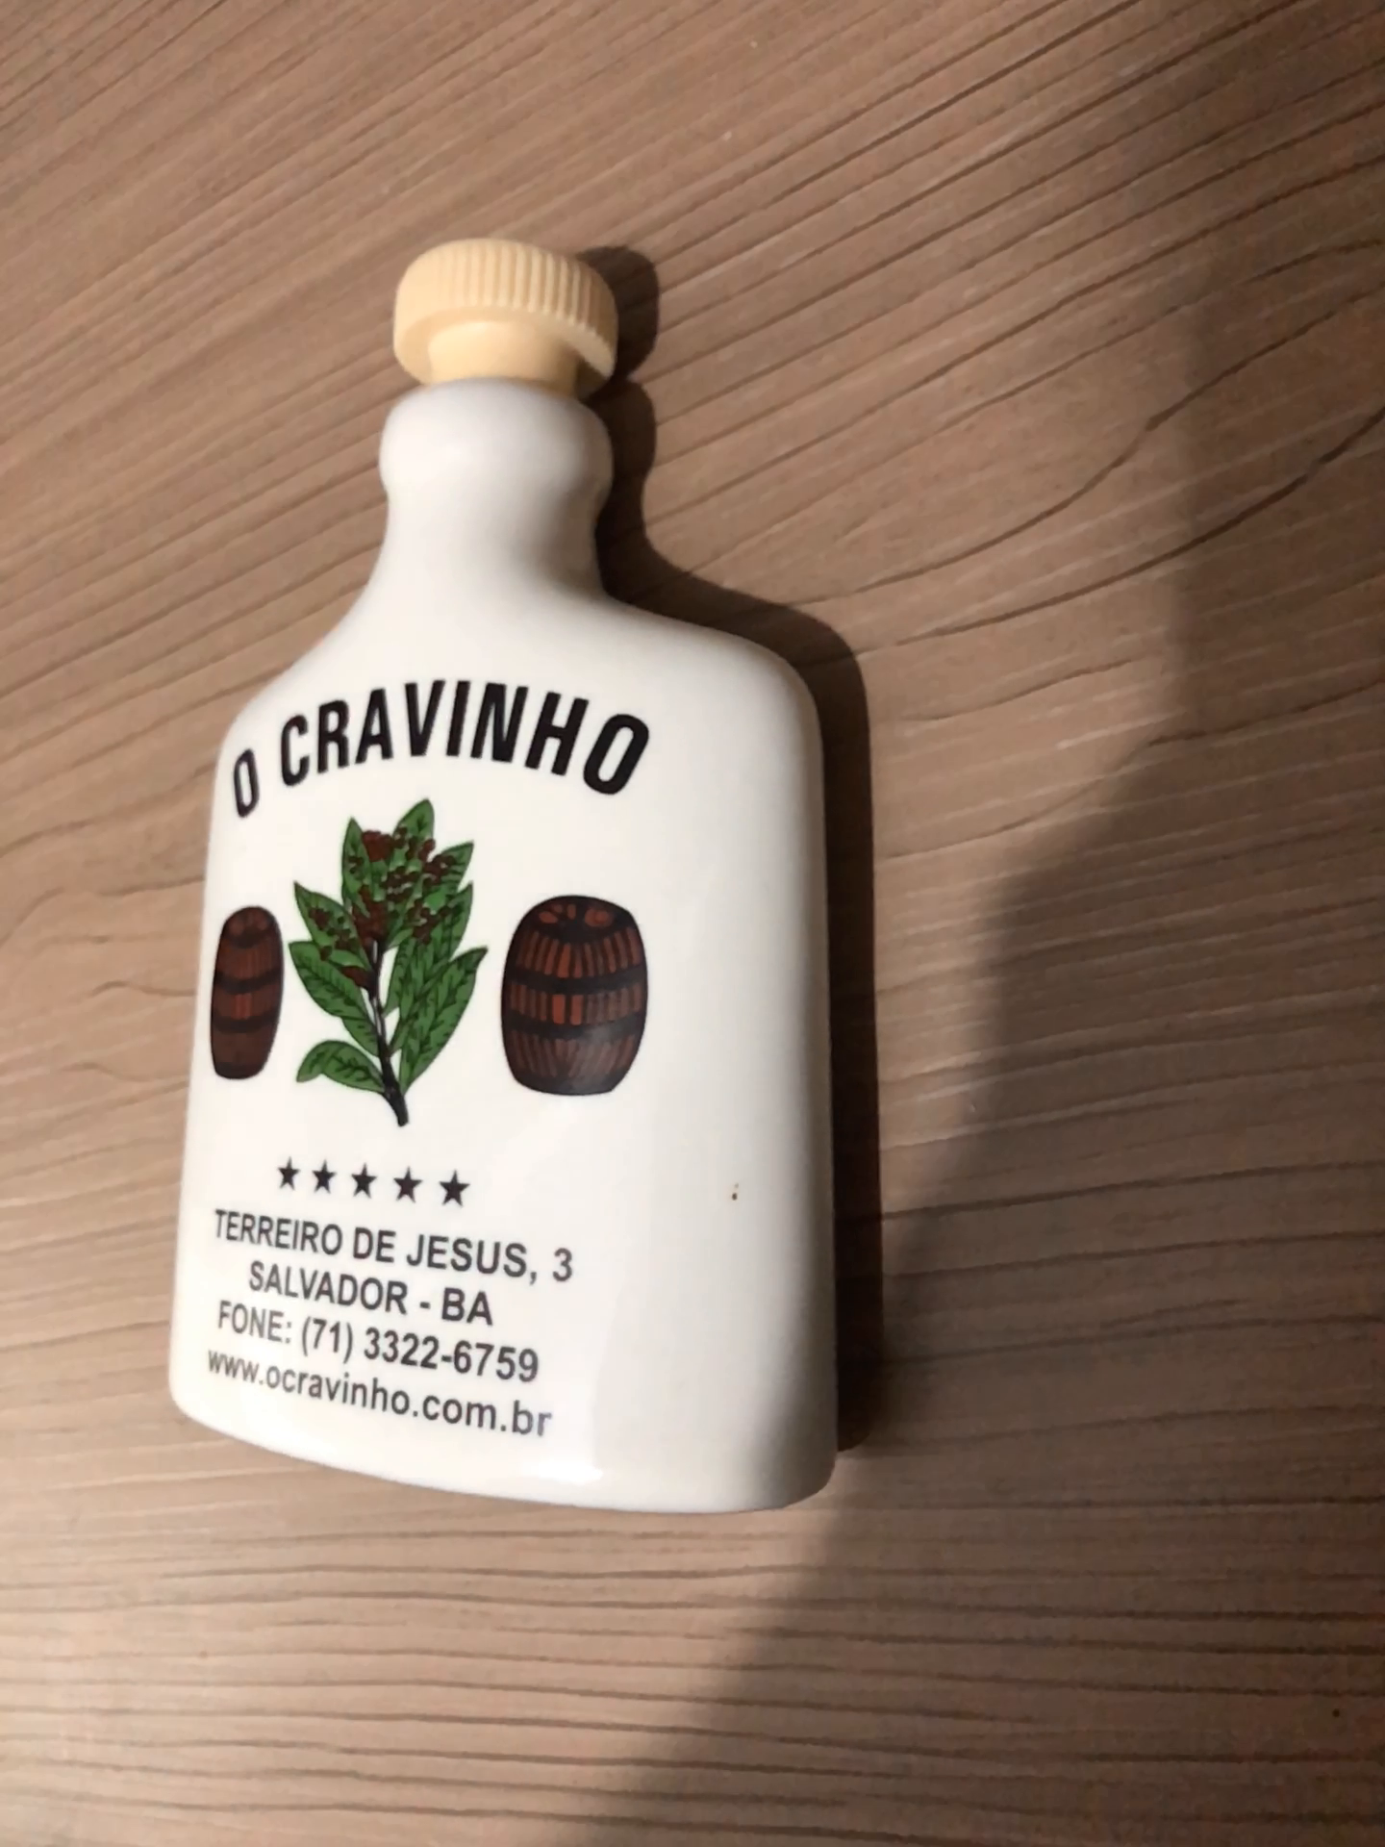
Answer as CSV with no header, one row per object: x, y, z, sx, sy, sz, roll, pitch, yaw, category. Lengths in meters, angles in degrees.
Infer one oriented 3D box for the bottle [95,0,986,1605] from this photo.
-0.019,-0.016,0.189,0.100,0.040,0.160,-2,84,32,bottle
